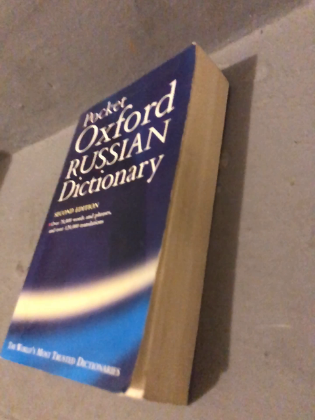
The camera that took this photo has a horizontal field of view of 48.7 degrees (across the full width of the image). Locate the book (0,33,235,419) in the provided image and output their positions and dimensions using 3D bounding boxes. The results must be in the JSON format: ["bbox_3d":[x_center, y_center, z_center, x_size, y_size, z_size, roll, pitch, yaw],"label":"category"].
[{"bbox_3d":[-0.029,0.003,0.219,0.138,0.032,0.195,-12,57,44],"label":"book"}]
